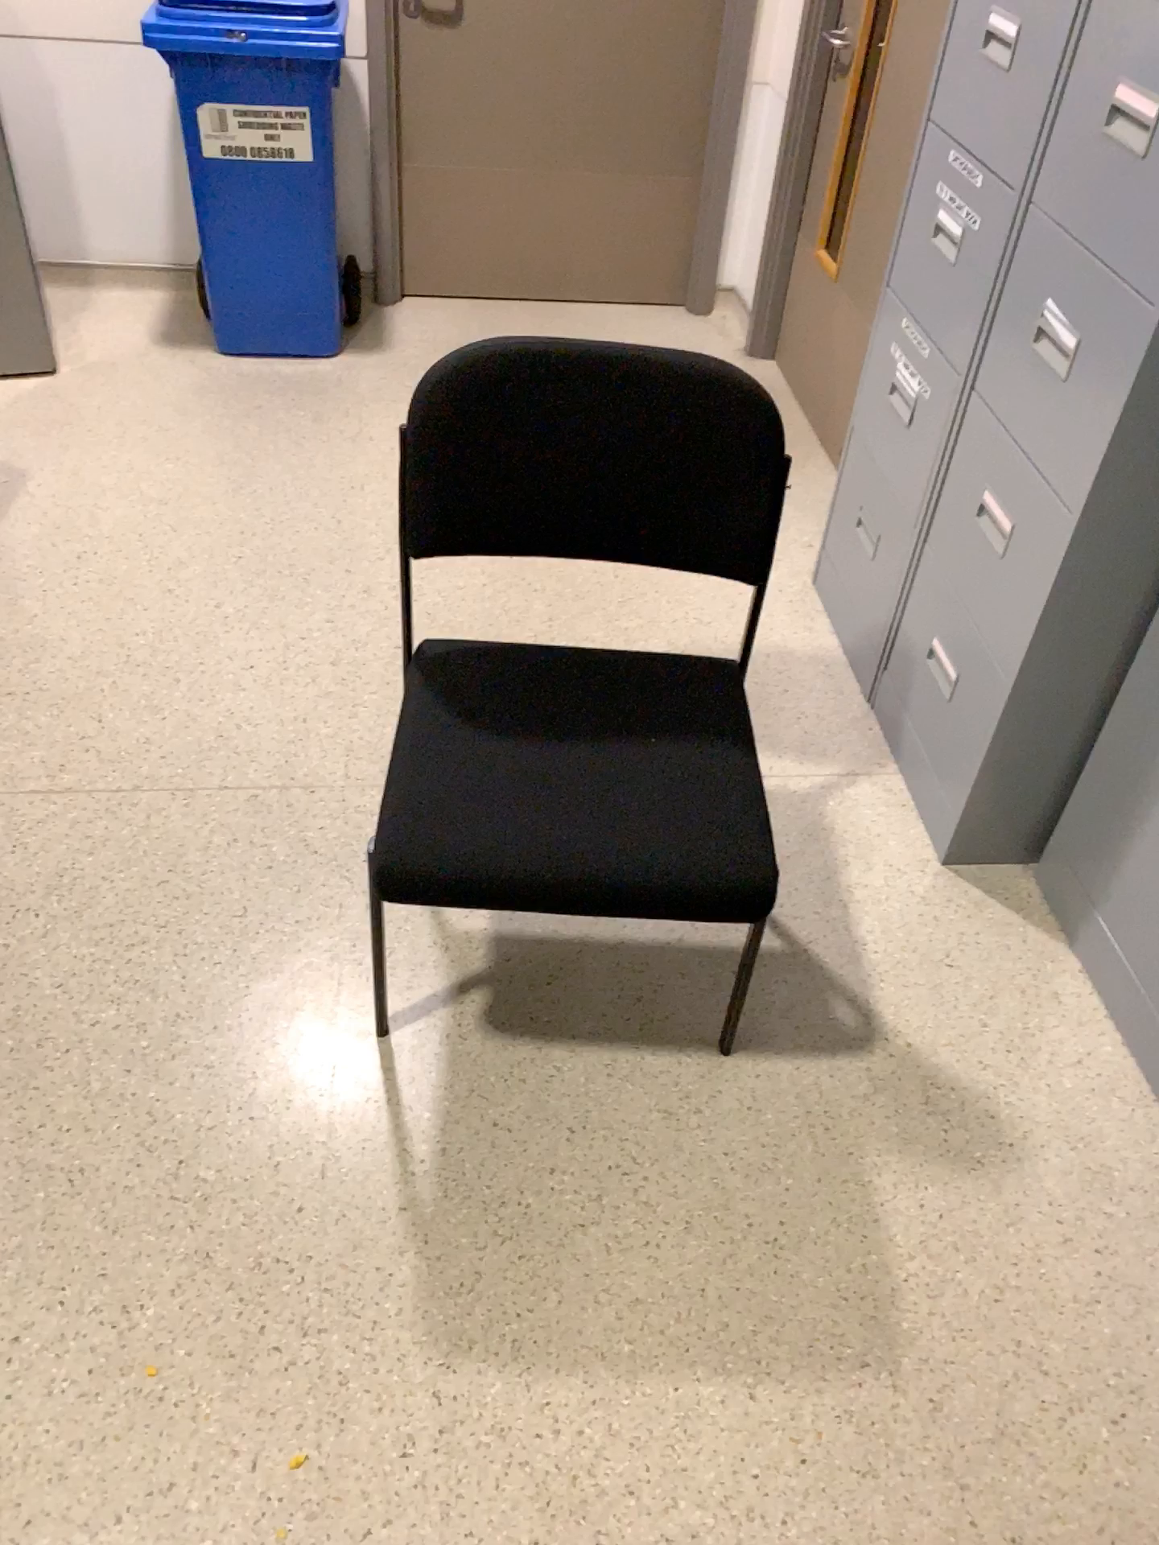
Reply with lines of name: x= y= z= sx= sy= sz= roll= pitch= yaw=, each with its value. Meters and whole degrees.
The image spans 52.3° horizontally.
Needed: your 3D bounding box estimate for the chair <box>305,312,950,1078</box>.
chair: x=0.014 y=-0.083 z=1.649 sx=0.630 sy=0.851 sz=0.596 roll=3 pitch=41 yaw=-4
